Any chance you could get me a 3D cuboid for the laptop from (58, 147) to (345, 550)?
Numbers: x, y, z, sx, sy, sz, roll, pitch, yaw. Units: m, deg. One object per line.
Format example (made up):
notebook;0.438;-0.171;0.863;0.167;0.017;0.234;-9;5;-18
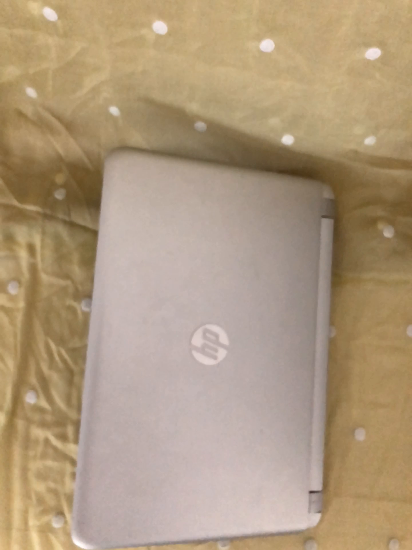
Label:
laptop;0.000;0.070;0.471;0.243;0.077;0.365;4;85;-1
